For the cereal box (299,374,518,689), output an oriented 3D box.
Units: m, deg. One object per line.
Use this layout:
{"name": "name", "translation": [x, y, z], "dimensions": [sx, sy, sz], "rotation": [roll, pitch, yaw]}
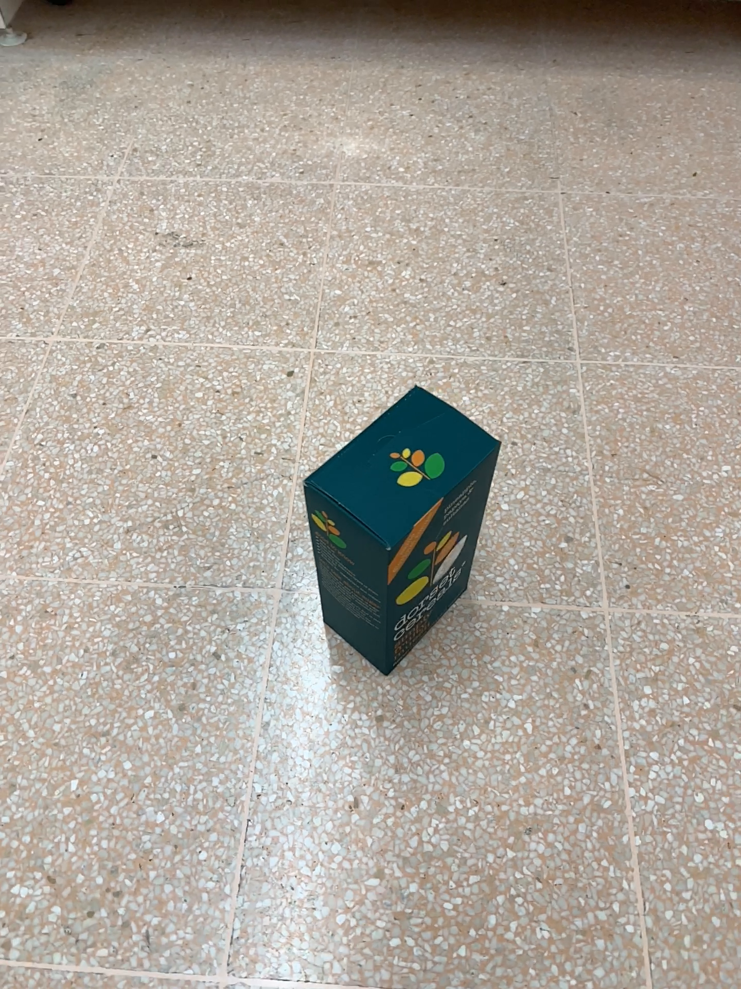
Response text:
{"name": "cereal box", "translation": [0.026, 0.041, 0.583], "dimensions": [0.080, 0.238, 0.120], "rotation": [38, 65, 22]}
